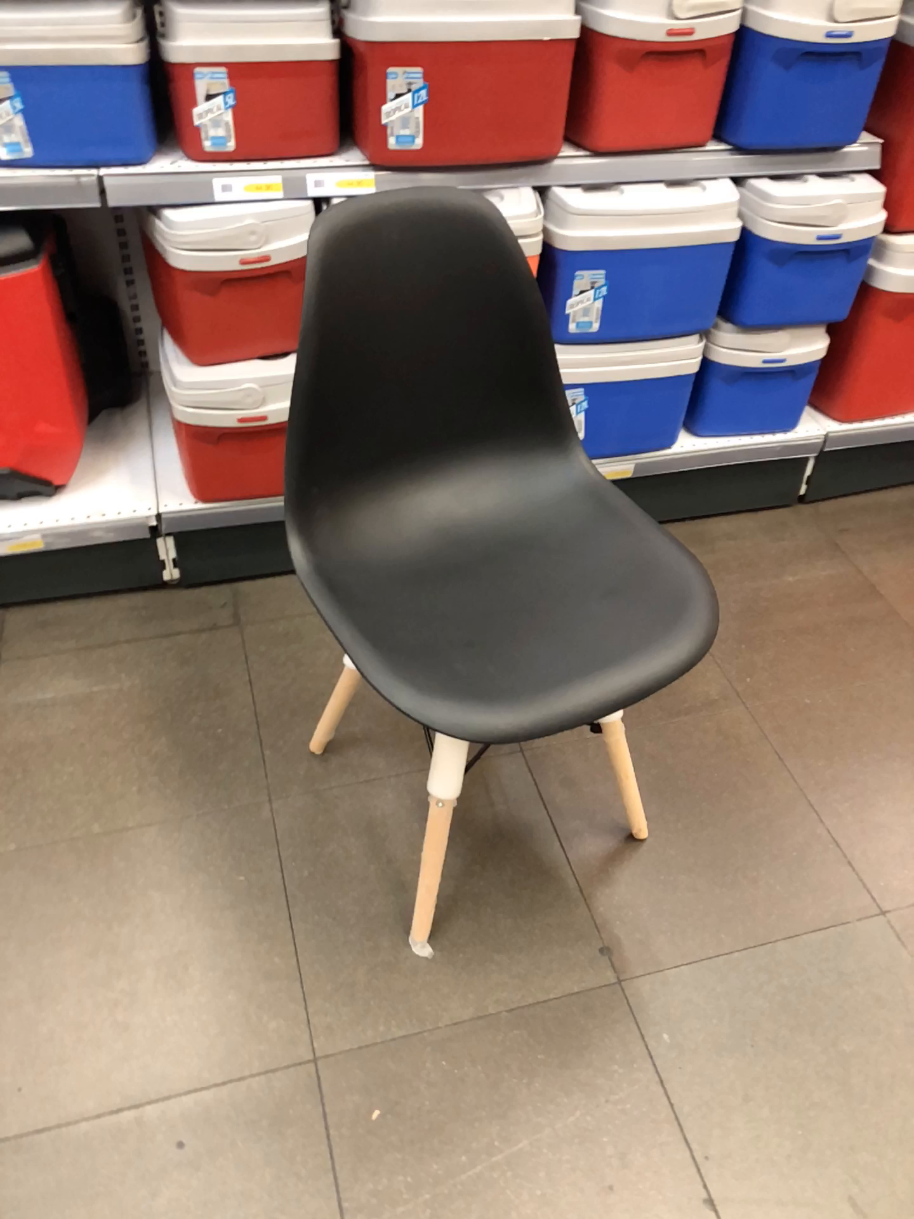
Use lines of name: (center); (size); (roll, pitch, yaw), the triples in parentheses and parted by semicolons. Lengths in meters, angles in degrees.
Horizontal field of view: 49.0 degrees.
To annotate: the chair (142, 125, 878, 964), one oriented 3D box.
chair: (0.014, -0.094, 1.222); (0.501, 0.724, 0.553); (-21, 47, -24)
